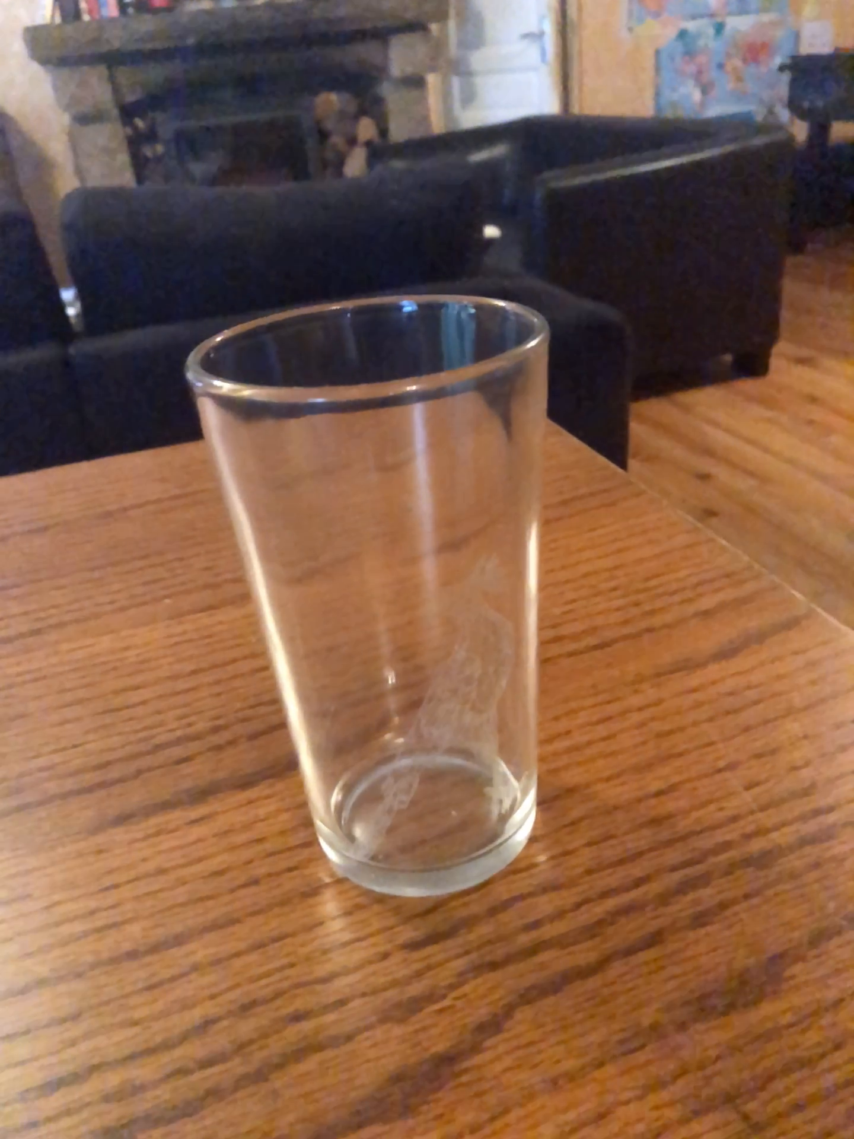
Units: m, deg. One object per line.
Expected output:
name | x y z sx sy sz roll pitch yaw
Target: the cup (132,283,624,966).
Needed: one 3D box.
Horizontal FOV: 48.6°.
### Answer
cup | -0.010 0.008 0.262 0.092 0.144 0.090 -5 27 2
